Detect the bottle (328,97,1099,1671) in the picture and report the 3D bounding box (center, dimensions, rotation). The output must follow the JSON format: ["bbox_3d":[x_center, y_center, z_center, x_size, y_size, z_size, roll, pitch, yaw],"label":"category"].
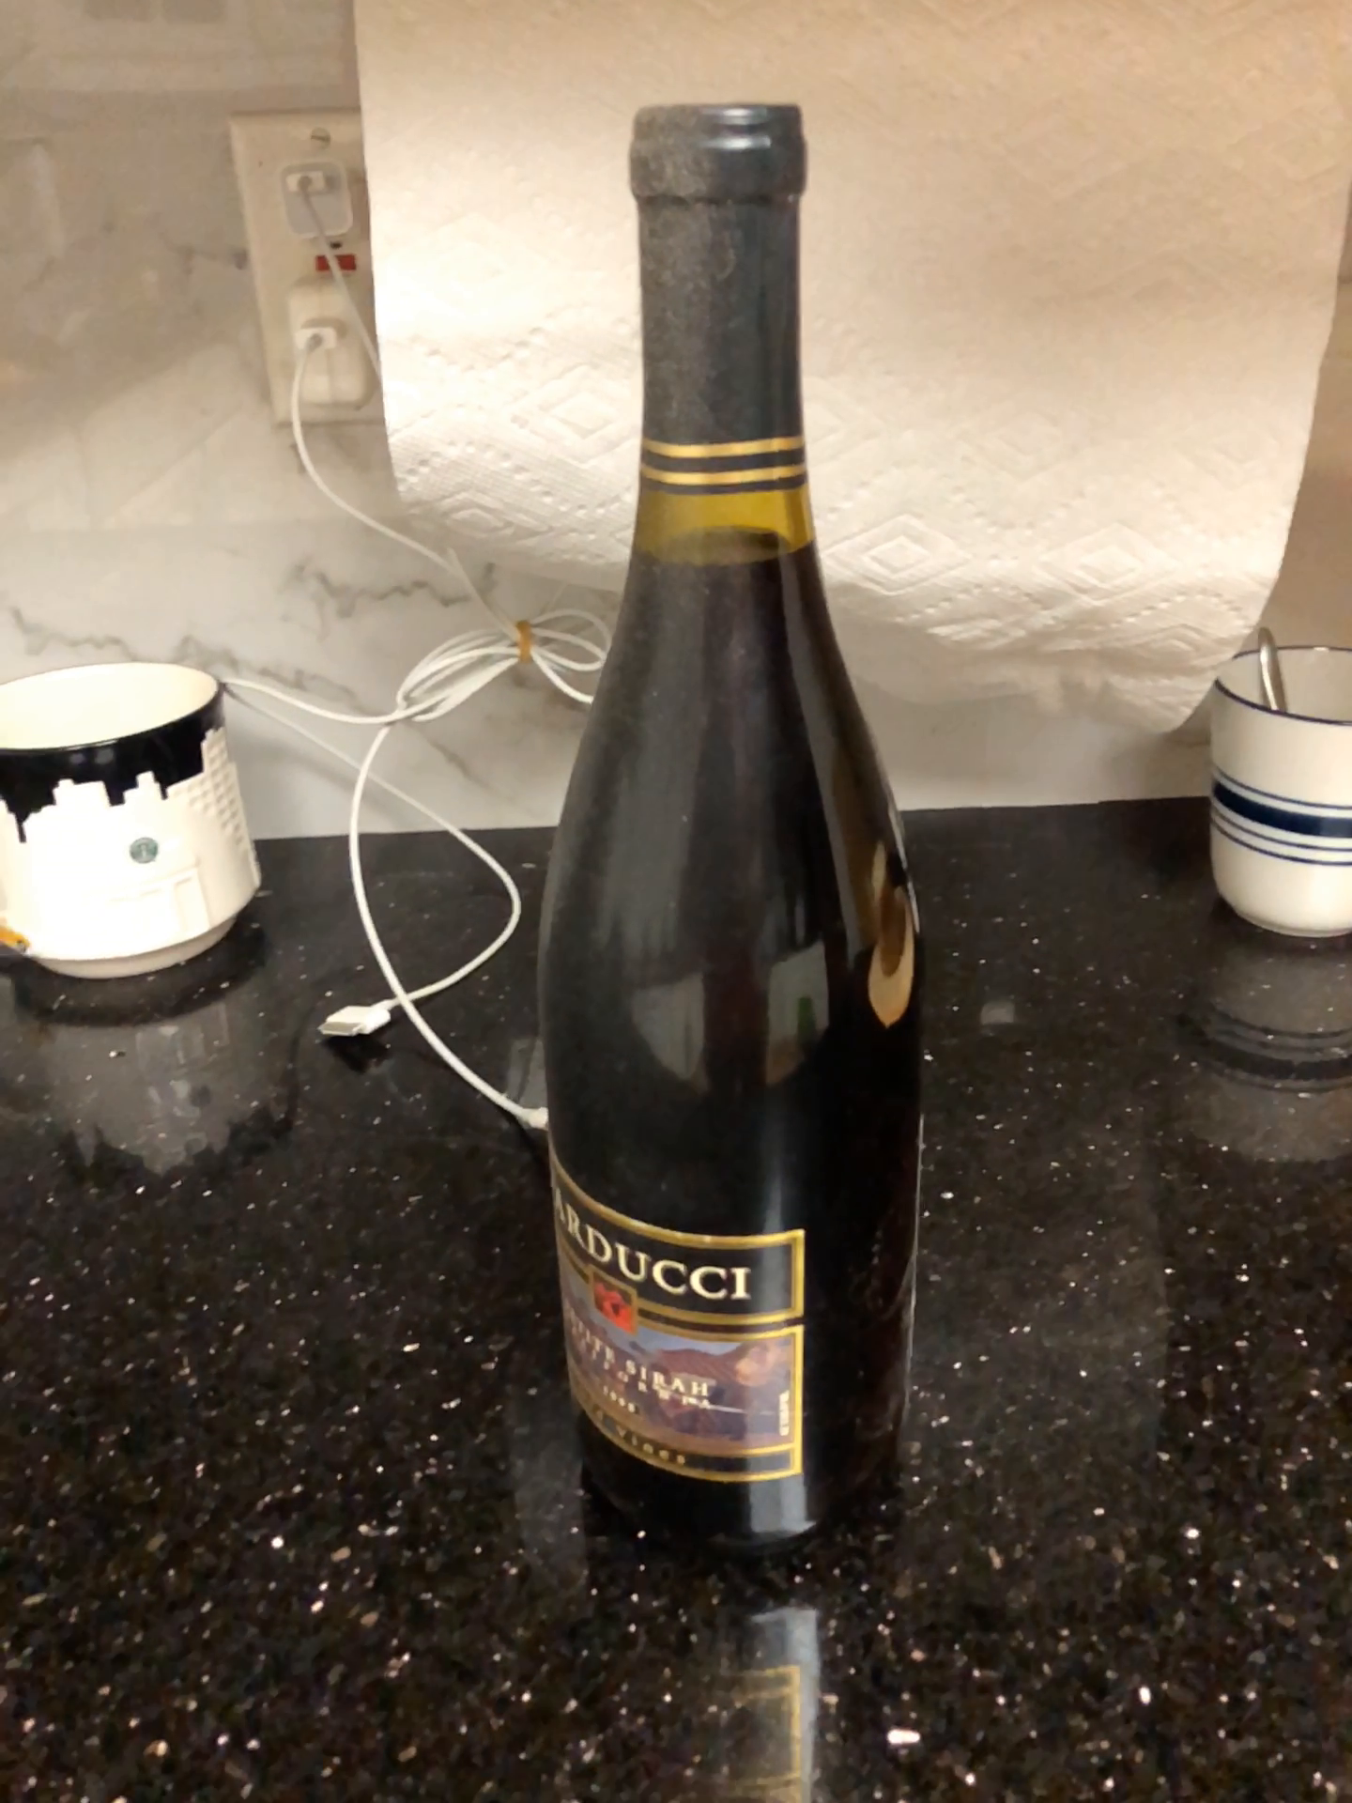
[{"bbox_3d":[0.012,0.004,0.311,0.090,0.298,0.090,-2,27,1],"label":"bottle"}]
